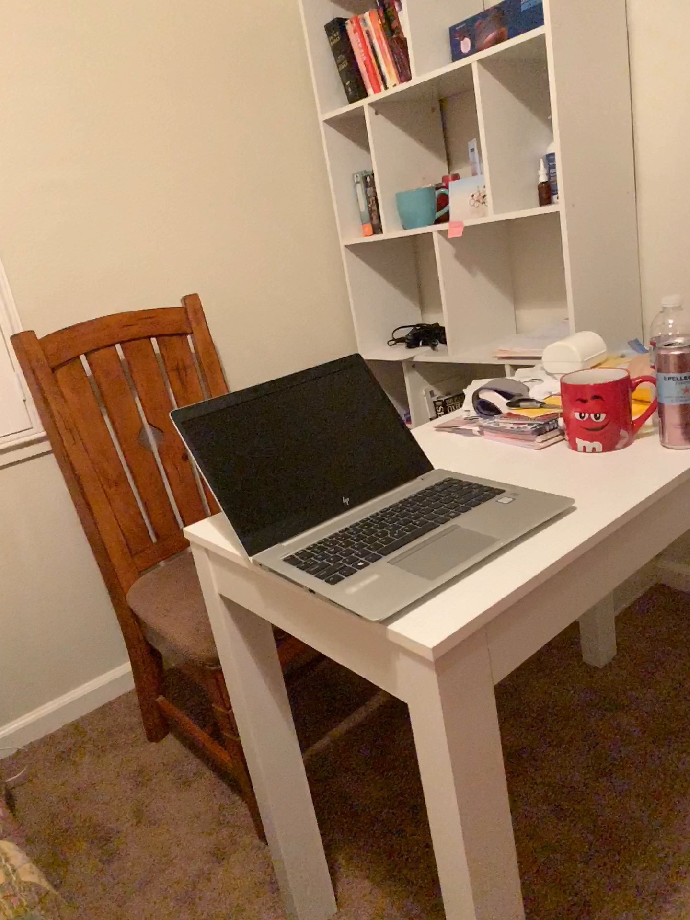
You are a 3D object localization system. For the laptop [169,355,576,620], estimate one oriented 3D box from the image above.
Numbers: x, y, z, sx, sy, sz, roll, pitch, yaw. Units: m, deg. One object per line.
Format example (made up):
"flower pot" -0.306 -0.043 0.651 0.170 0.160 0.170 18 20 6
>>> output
"laptop" 0.024 -0.006 0.846 0.310 0.159 0.365 -22 21 -34
